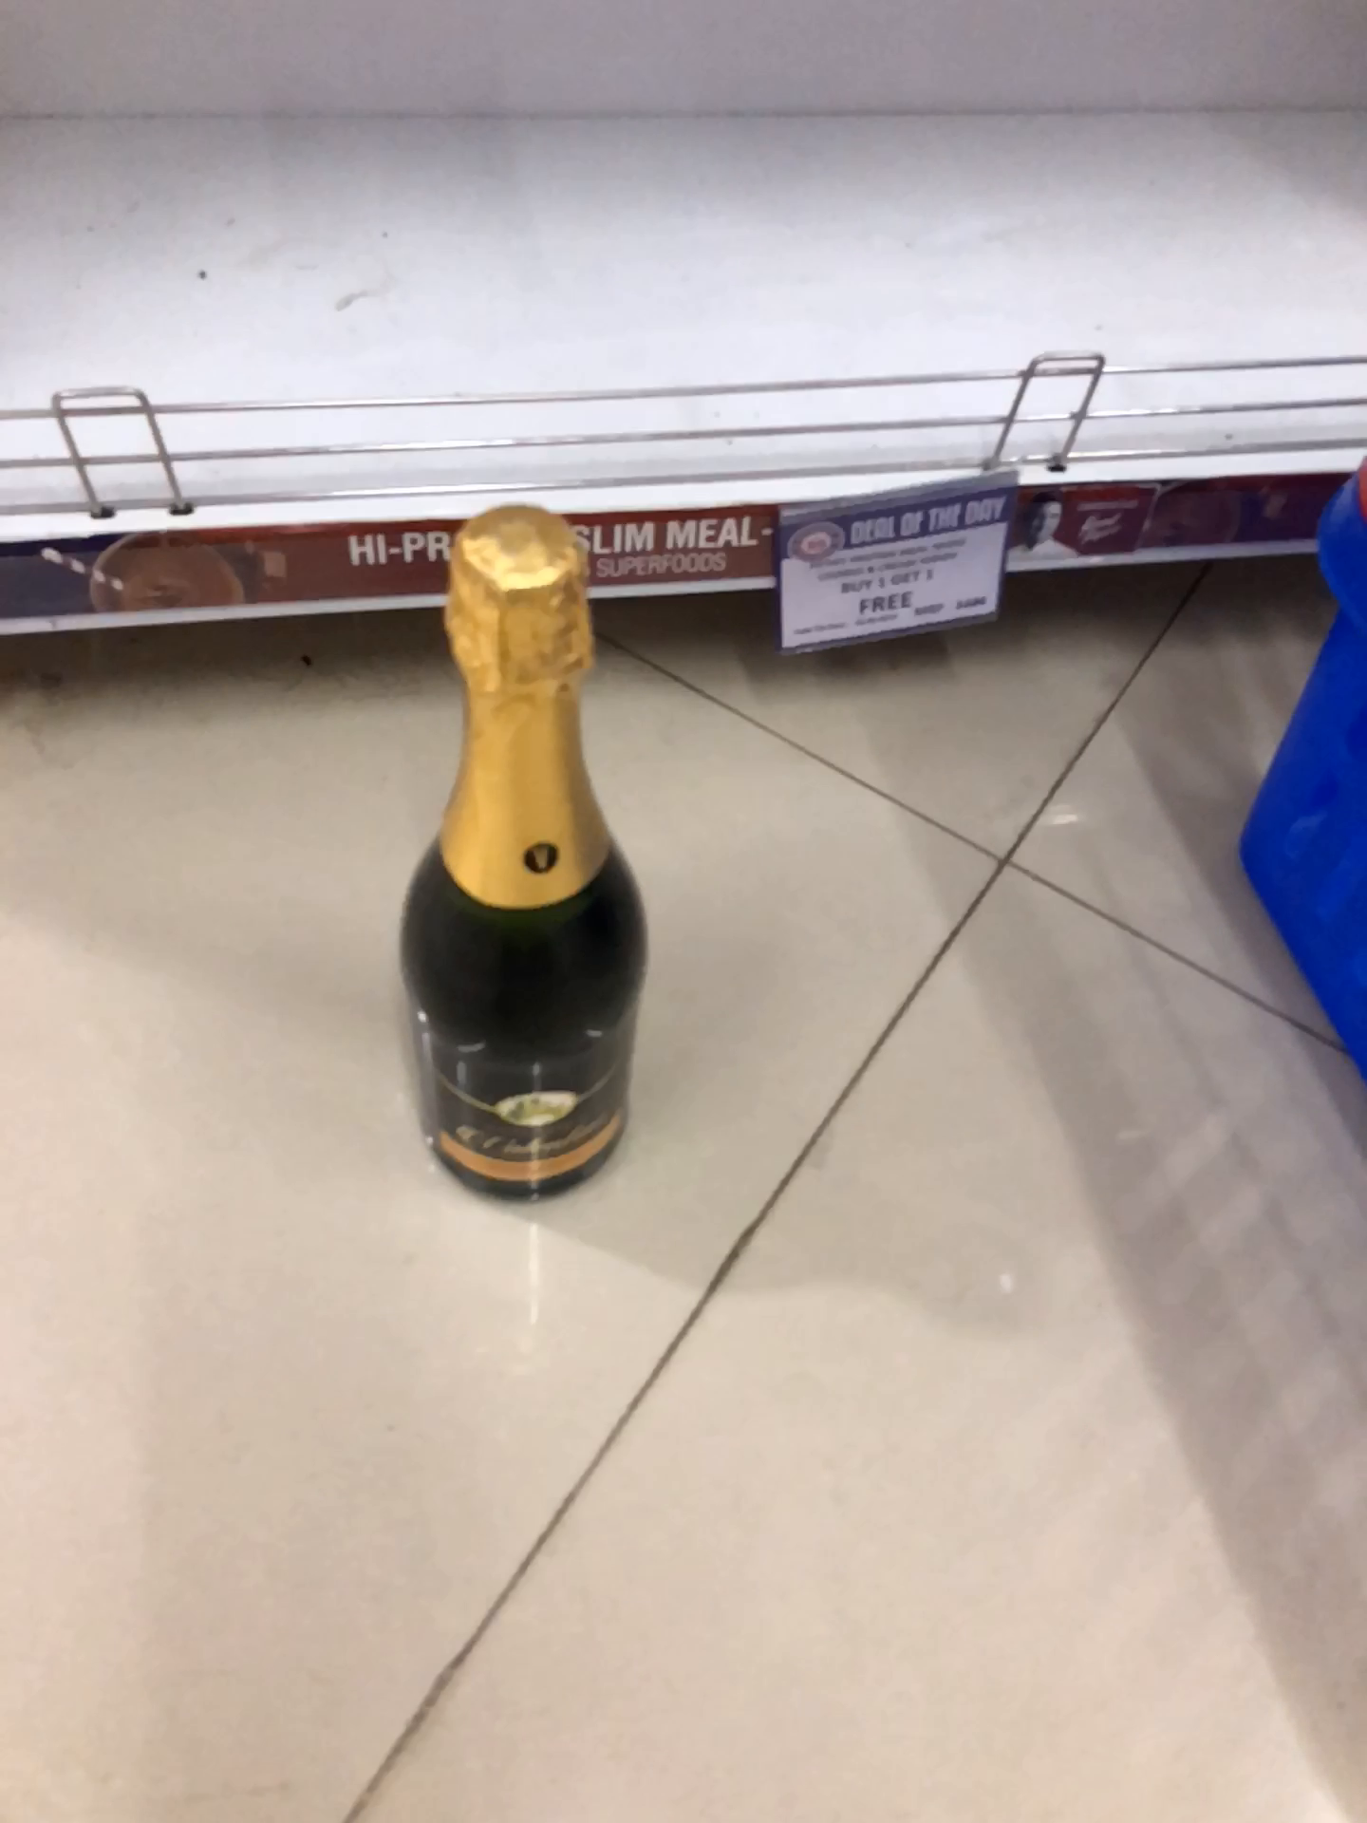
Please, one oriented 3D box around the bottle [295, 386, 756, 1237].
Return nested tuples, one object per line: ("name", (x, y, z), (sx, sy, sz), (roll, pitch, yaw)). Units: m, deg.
("bottle", (-0.052, -0.005, 0.464), (0.090, 0.299, 0.090), (3, 56, -4))
